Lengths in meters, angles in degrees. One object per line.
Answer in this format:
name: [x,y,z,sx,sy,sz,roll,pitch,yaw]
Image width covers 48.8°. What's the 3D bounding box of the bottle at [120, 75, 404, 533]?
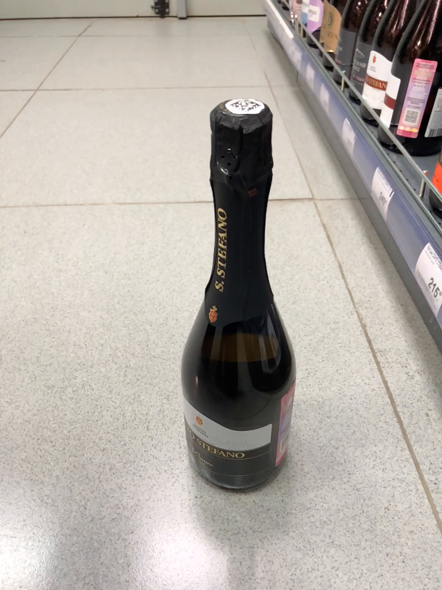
bottle: [0.021,0.022,0.347,0.100,0.298,0.110,-31,47,-33]
